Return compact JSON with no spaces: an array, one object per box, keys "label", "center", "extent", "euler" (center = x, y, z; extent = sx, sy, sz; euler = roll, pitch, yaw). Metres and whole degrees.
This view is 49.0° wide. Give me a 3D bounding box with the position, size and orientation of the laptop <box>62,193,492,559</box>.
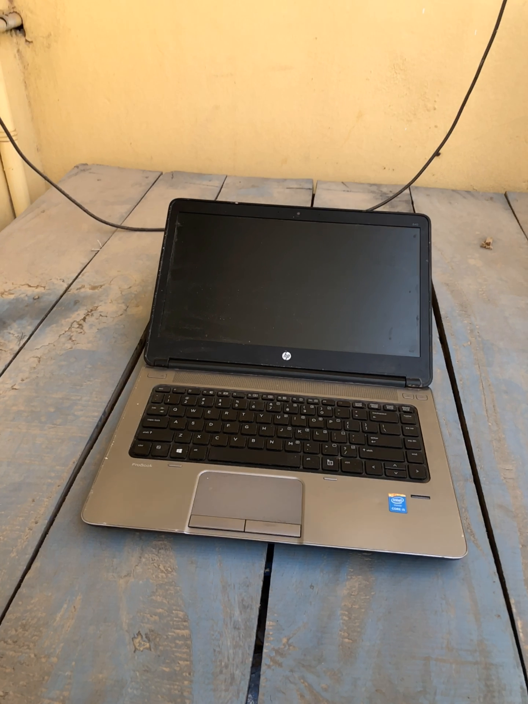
[{"label":"laptop","center":[0.023,-0.016,0.597],"extent":[0.306,0.123,0.391],"euler":[4,38,4]}]
